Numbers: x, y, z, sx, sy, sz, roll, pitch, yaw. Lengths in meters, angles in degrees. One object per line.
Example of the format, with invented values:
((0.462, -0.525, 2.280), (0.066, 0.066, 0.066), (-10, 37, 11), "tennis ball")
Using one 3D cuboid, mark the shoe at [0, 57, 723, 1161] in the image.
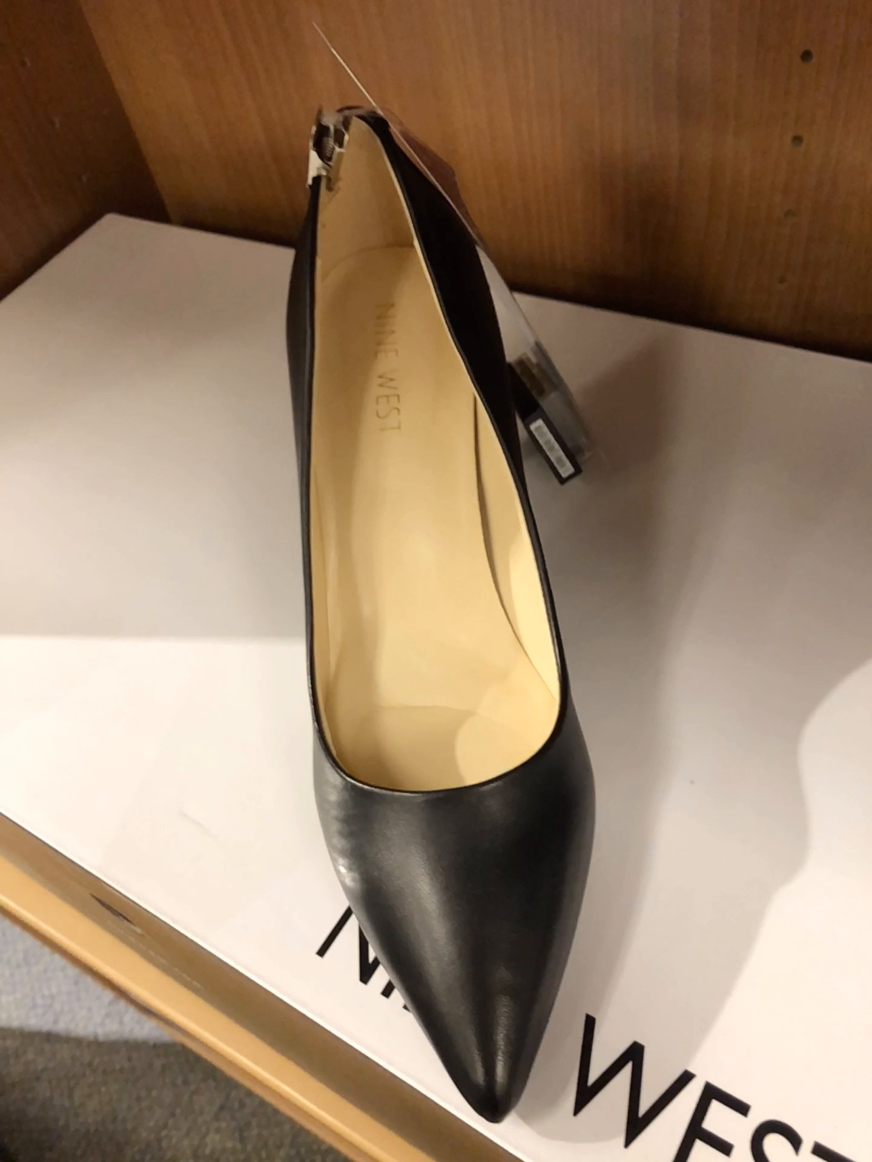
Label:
((-0.005, 0.004, 0.264), (0.096, 0.160, 0.255), (-9, 49, 6), "shoe")
